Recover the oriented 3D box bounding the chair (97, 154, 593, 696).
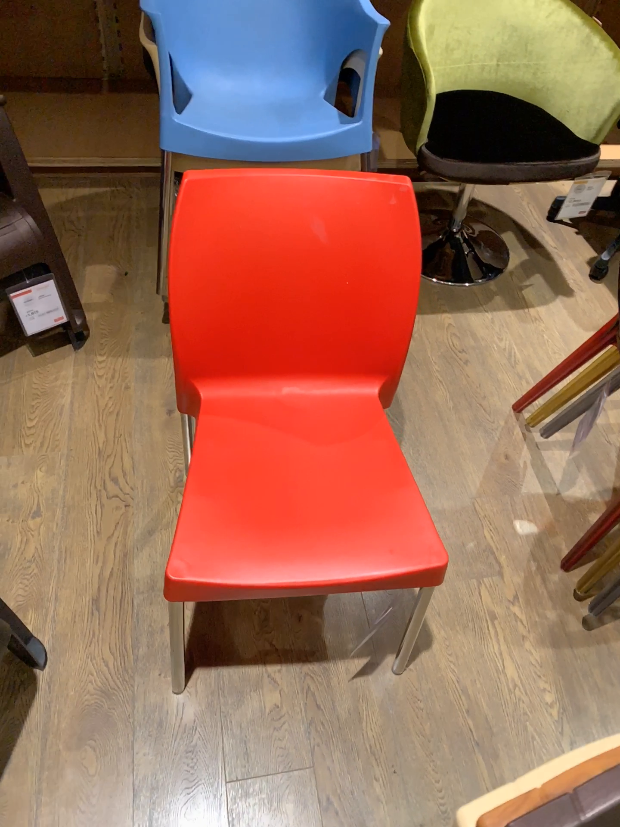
[{"bbox_3d":[-0.011,0.065,1.157,0.530,0.778,0.622,0,51,-7],"label":"chair"}]
